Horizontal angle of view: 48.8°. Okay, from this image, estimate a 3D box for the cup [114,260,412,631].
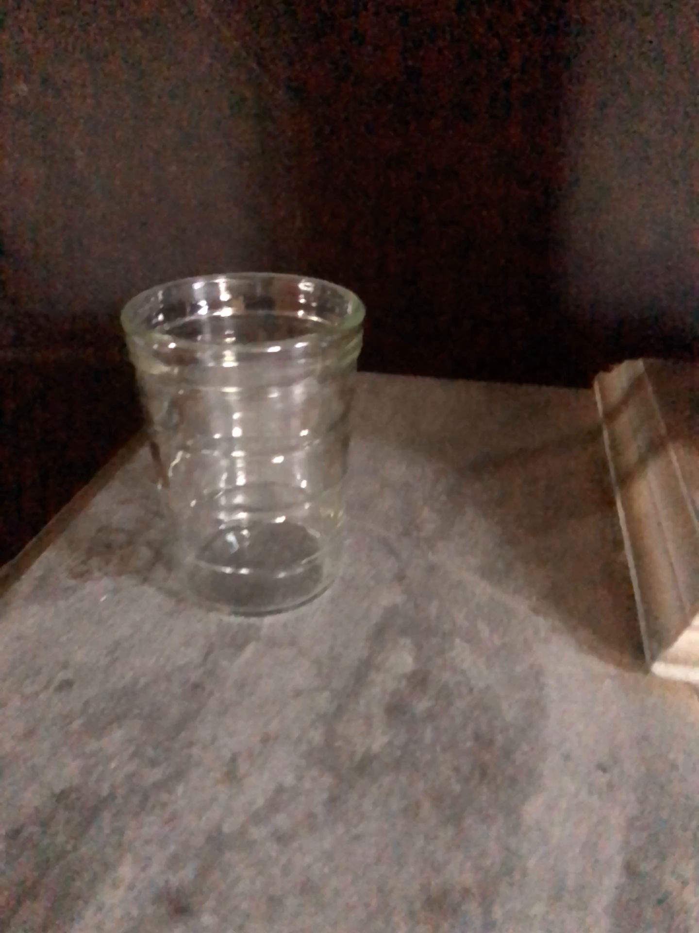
[{"bbox_3d":[-0.026,-0.011,0.229,0.070,0.080,0.070,-1,28,0],"label":"cup"}]
